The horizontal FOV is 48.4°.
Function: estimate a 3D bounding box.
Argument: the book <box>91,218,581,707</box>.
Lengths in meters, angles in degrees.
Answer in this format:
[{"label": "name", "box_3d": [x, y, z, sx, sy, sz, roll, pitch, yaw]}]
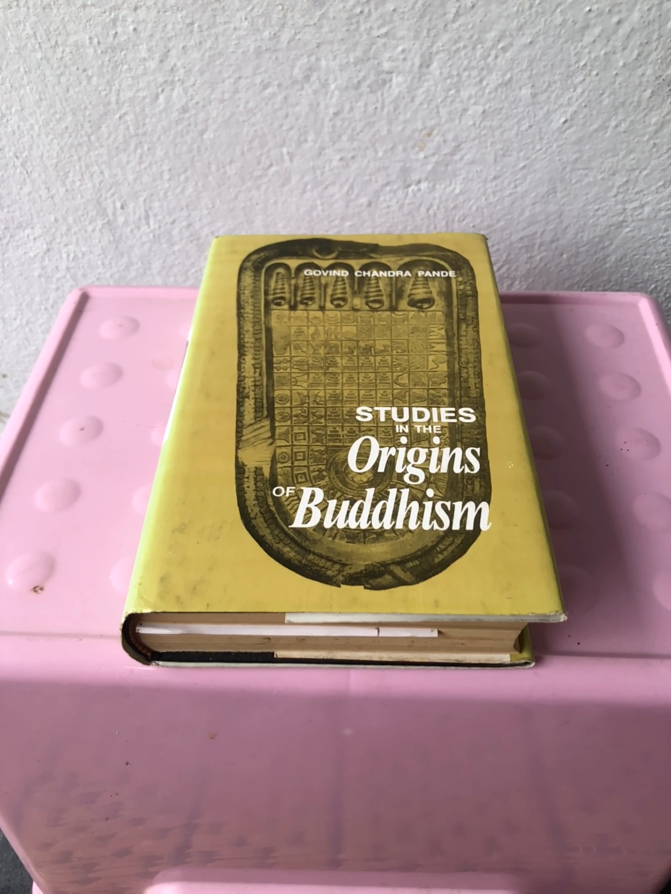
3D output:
[{"label": "book", "box_3d": [0.003, -0.015, 0.323, 0.150, 0.040, 0.241, 1, 48, 1]}]
